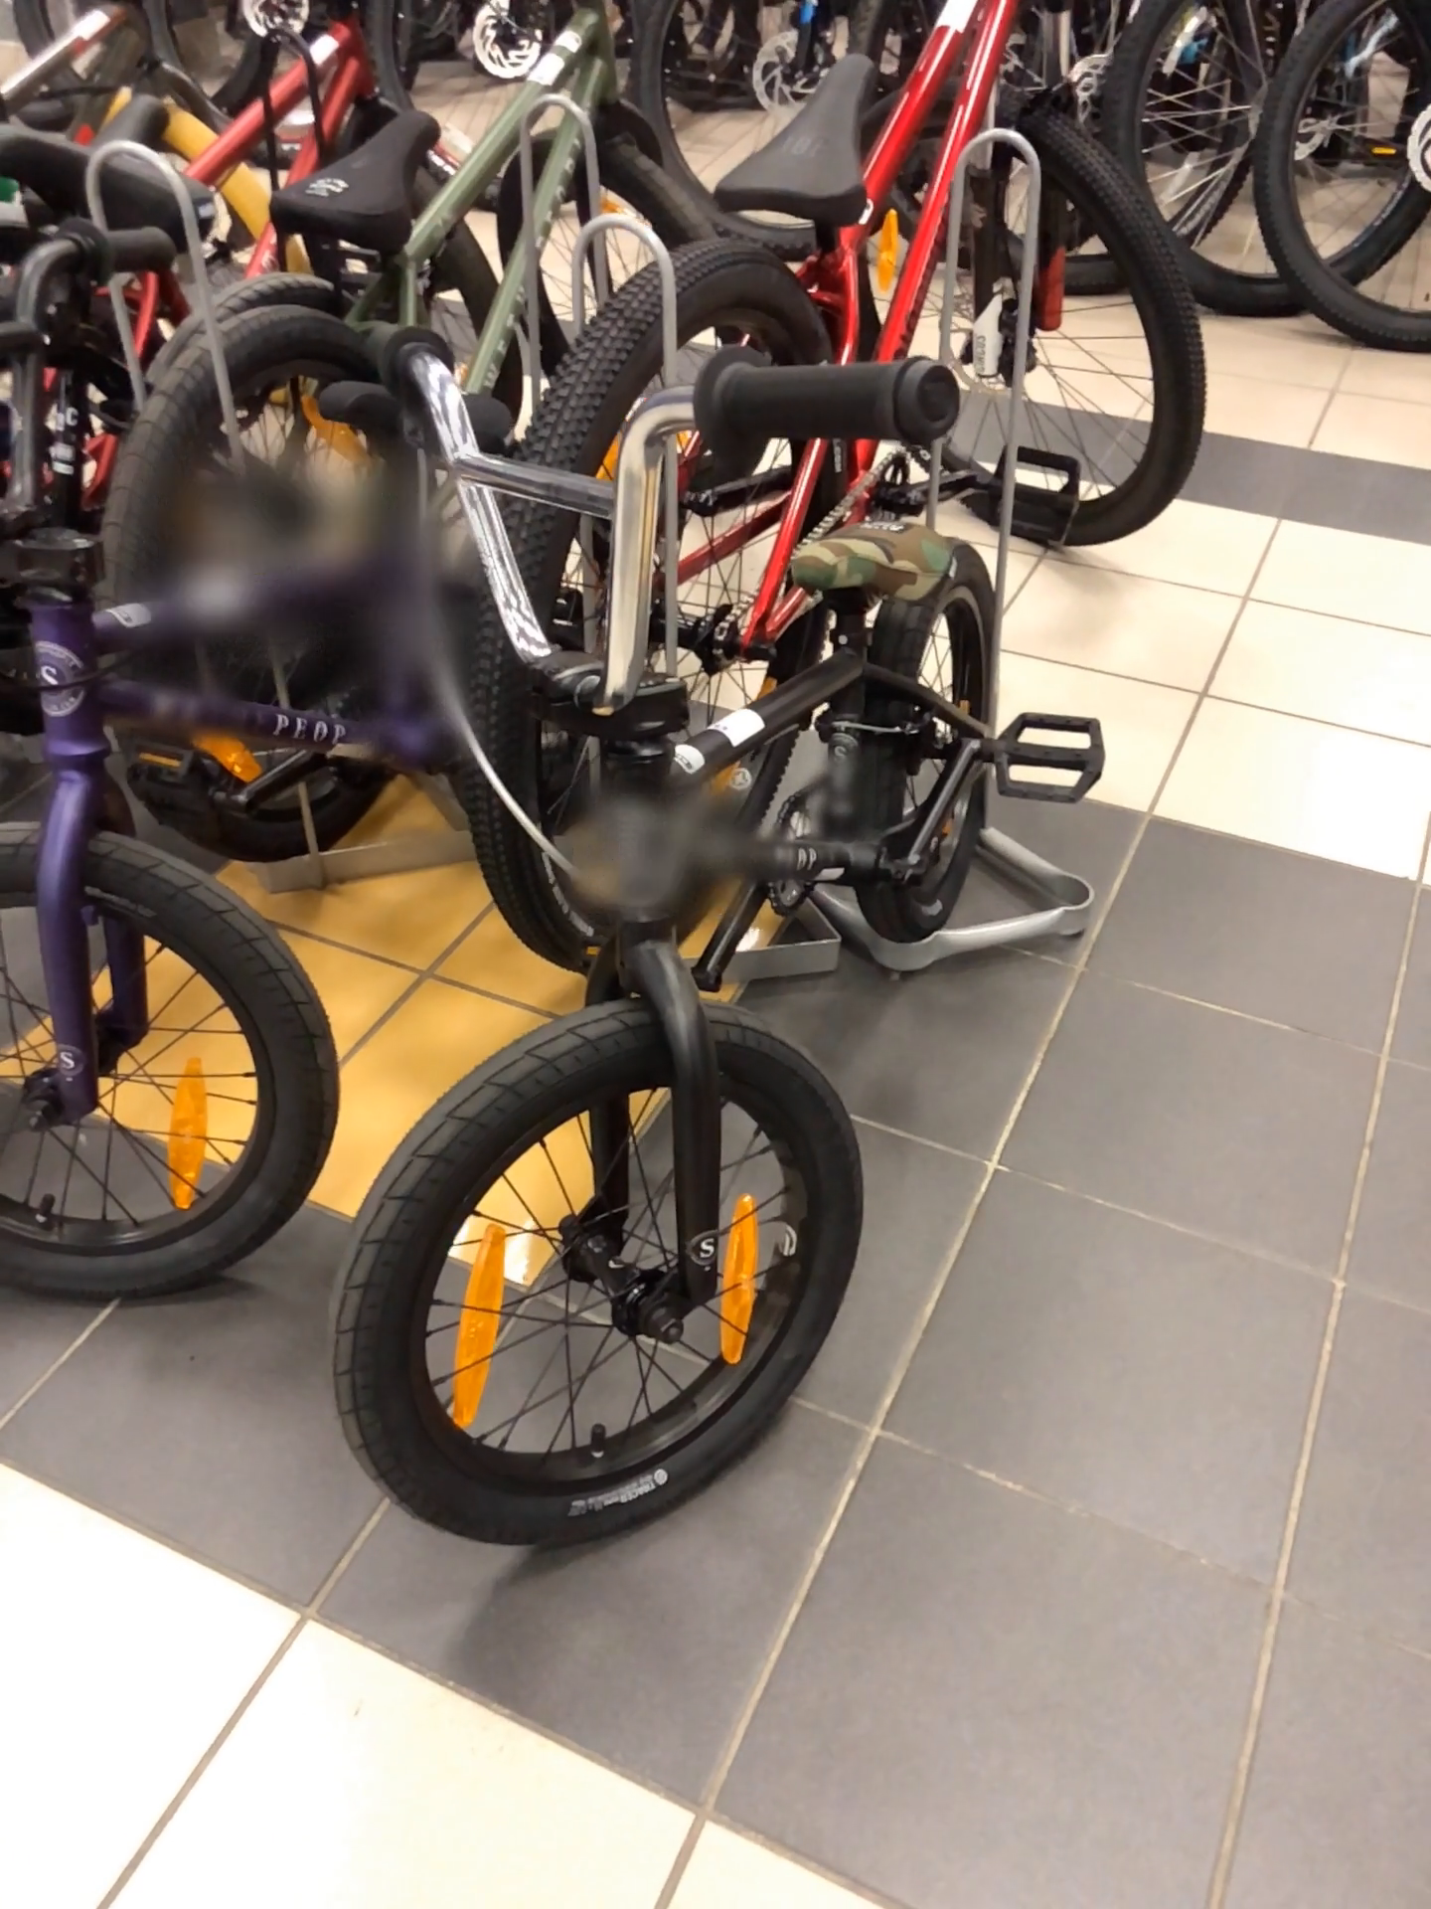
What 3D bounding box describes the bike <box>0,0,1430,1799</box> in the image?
[{"bbox_3d":[0.059,-0.201,1.172,0.676,0.810,1.076,19,40,21],"label":"bike"}]
